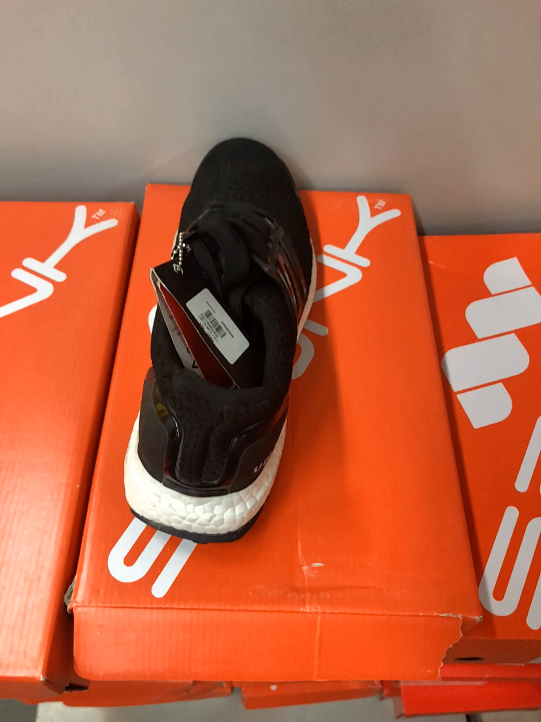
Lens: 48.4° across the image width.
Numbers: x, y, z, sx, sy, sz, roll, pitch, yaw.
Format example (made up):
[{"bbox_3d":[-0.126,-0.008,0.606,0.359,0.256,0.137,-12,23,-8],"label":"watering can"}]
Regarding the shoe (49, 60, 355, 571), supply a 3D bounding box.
[{"bbox_3d":[-0.021,-0.039,0.375,0.117,0.120,0.290,7,58,0],"label":"shoe"}]
